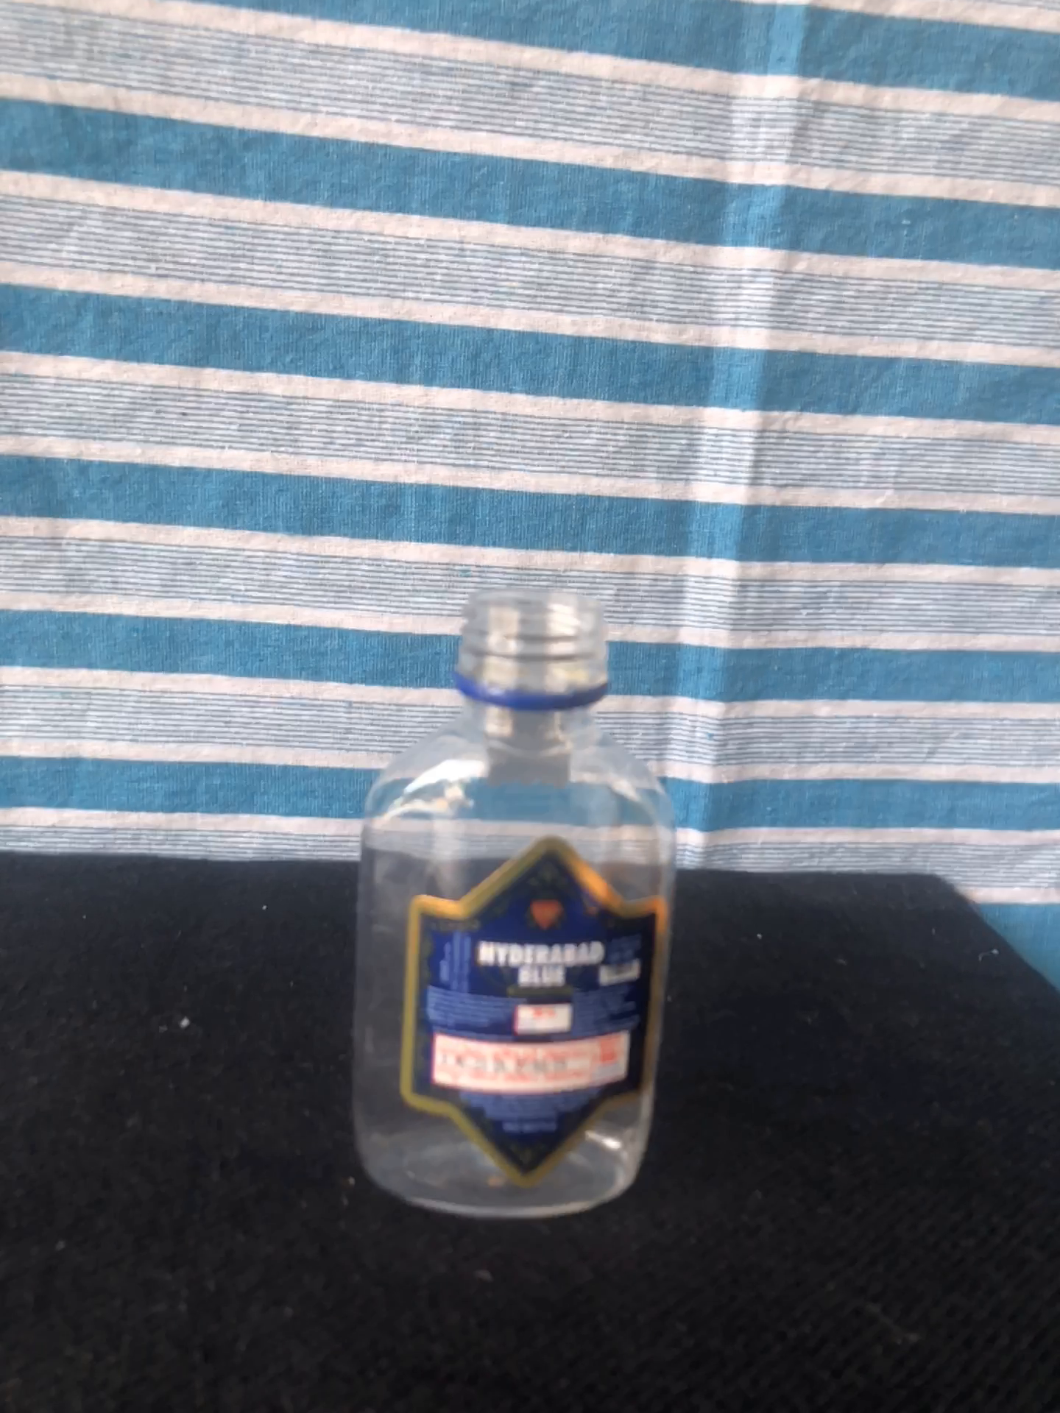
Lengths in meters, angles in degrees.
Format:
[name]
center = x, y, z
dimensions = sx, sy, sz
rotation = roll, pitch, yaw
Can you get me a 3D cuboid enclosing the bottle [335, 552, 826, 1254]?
[bottle]
center = 0.002, 0.031, 0.193
dimensions = 0.060, 0.100, 0.050
rotation = 4, 18, -9
